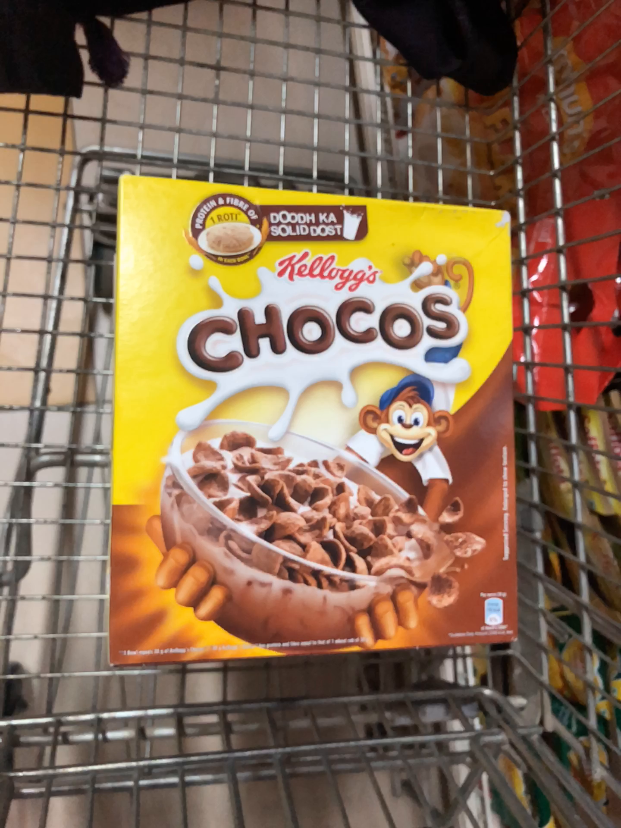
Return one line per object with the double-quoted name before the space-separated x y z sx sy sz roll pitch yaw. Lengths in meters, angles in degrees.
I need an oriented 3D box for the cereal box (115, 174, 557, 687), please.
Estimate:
"cereal box" 0.009 0.007 0.312 0.180 0.070 0.190 1 87 -13
